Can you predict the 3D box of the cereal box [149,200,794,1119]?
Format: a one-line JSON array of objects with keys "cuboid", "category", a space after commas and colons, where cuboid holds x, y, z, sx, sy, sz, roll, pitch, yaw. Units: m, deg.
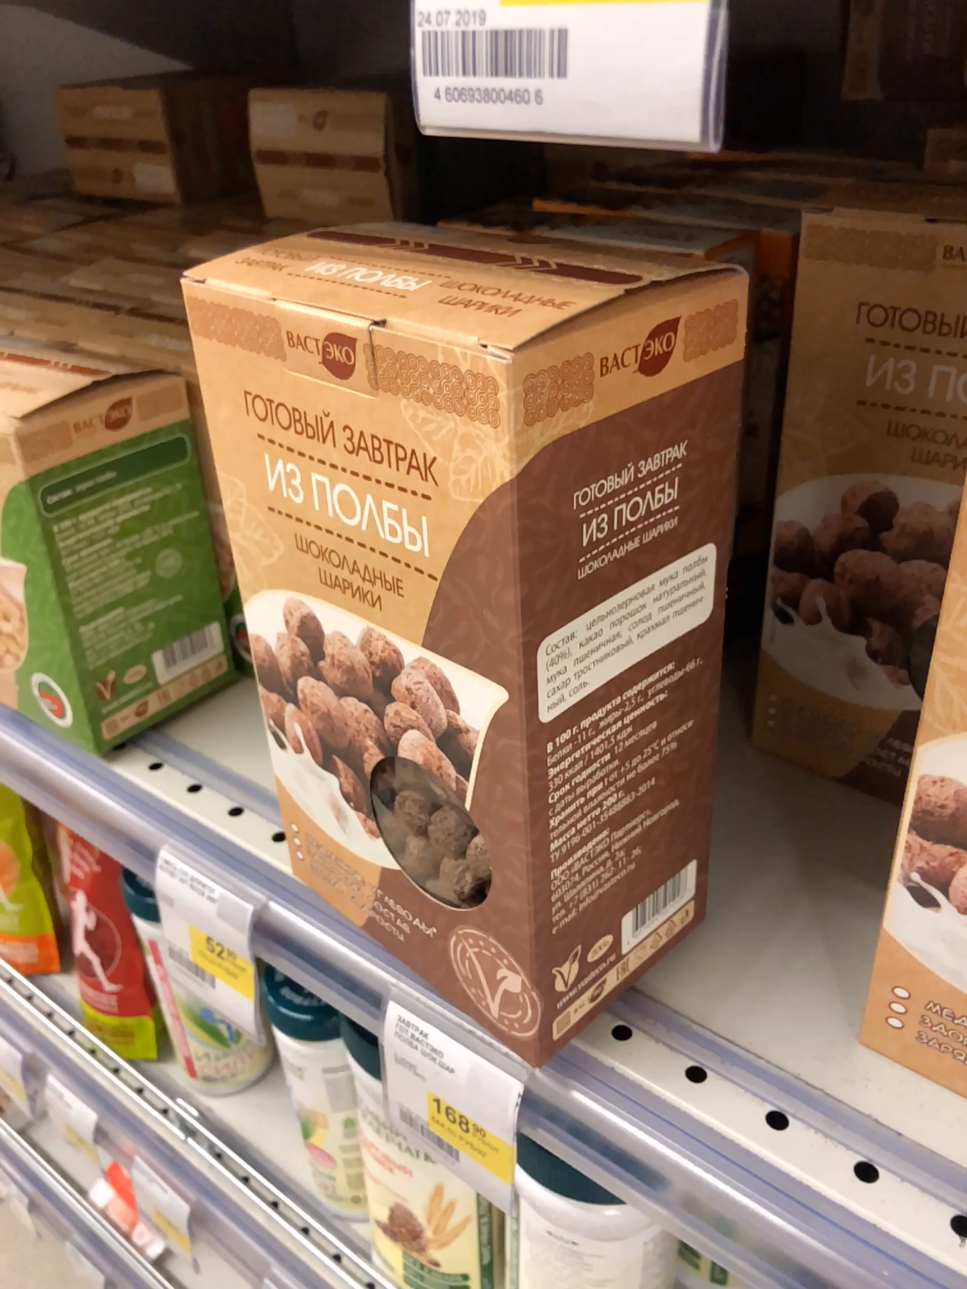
[{"cuboid": [-0.004, -0.001, 0.300, 0.080, 0.209, 0.130, -28, 39, -36], "category": "cereal box"}]
